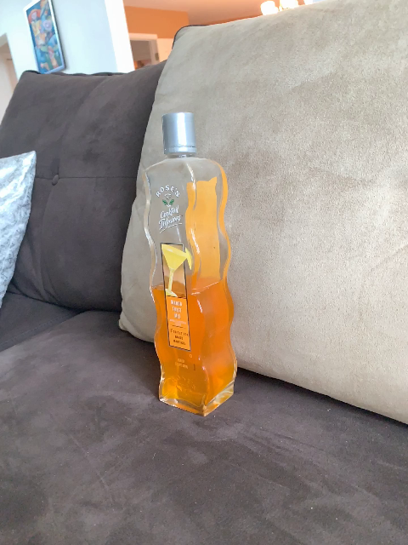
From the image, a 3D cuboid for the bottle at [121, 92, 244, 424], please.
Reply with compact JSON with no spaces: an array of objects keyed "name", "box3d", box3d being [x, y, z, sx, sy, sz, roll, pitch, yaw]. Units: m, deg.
[{"name":"bottle","box3d":[-0.017,-0.013,0.431,0.080,0.299,0.080,-2,10,0]}]
